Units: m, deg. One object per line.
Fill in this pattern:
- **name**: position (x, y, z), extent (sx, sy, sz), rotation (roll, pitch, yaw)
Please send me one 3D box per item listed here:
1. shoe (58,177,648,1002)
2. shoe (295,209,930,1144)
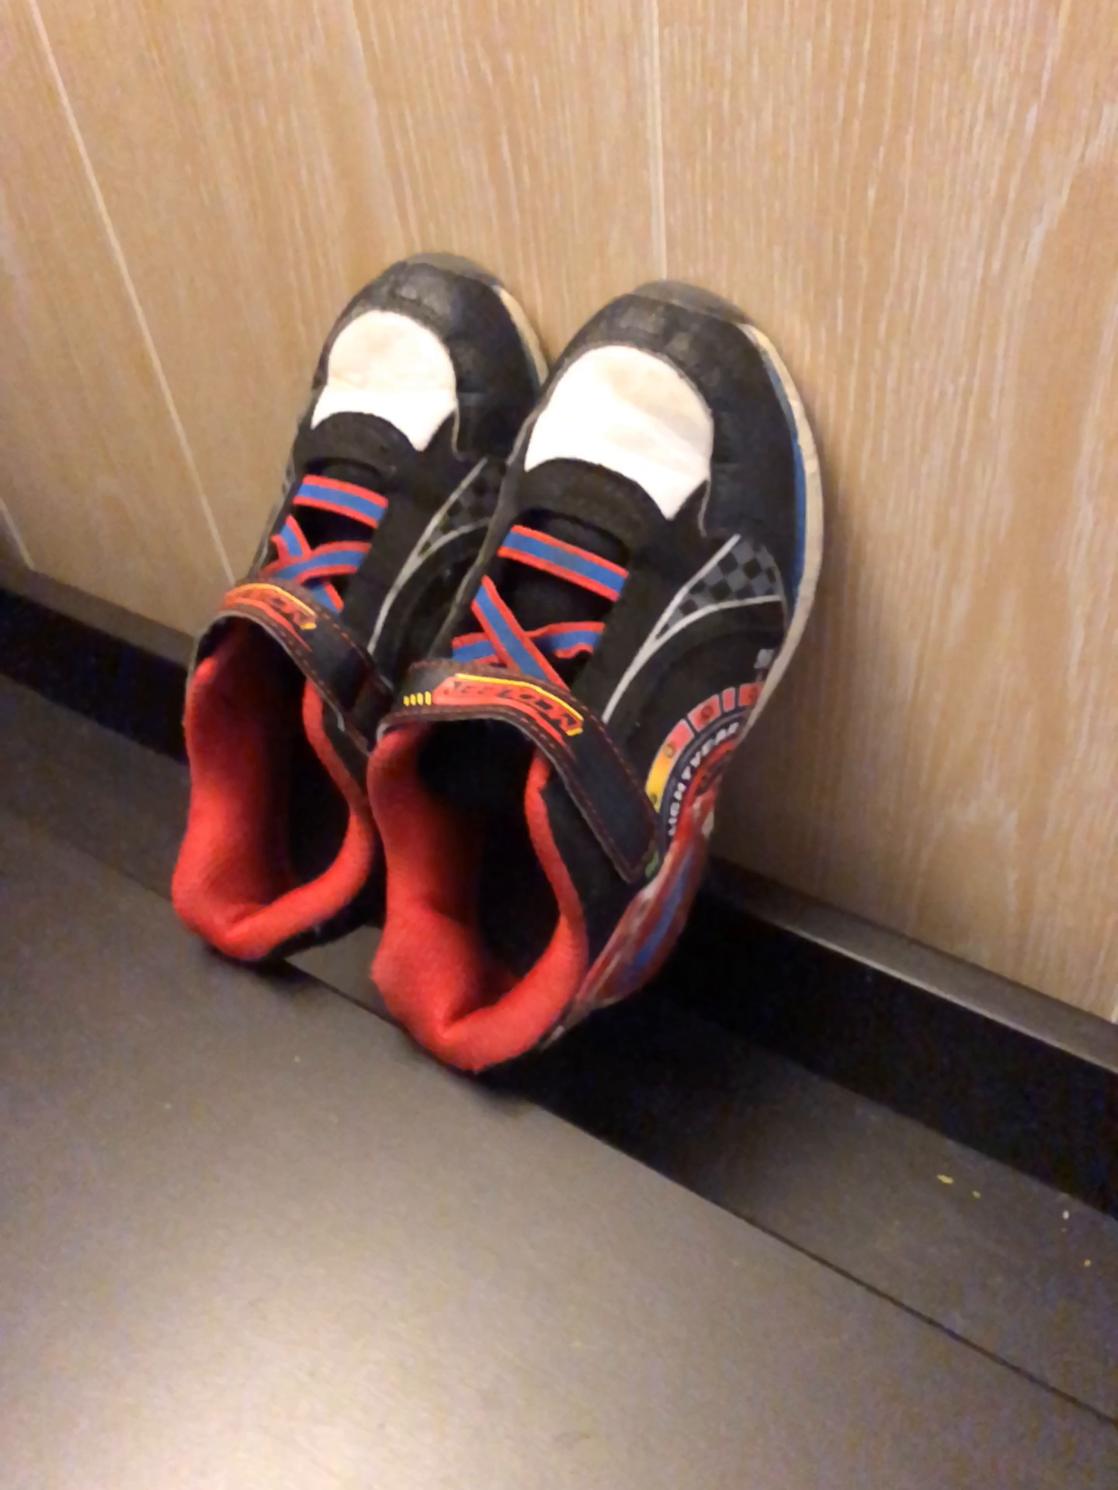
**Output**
- **shoe**: position (-0.059, -0.042, 0.355), extent (0.090, 0.200, 0.070), rotation (21, 6, 27)
- **shoe**: position (0.012, -0.018, 0.333), extent (0.090, 0.210, 0.070), rotation (22, 11, 28)
